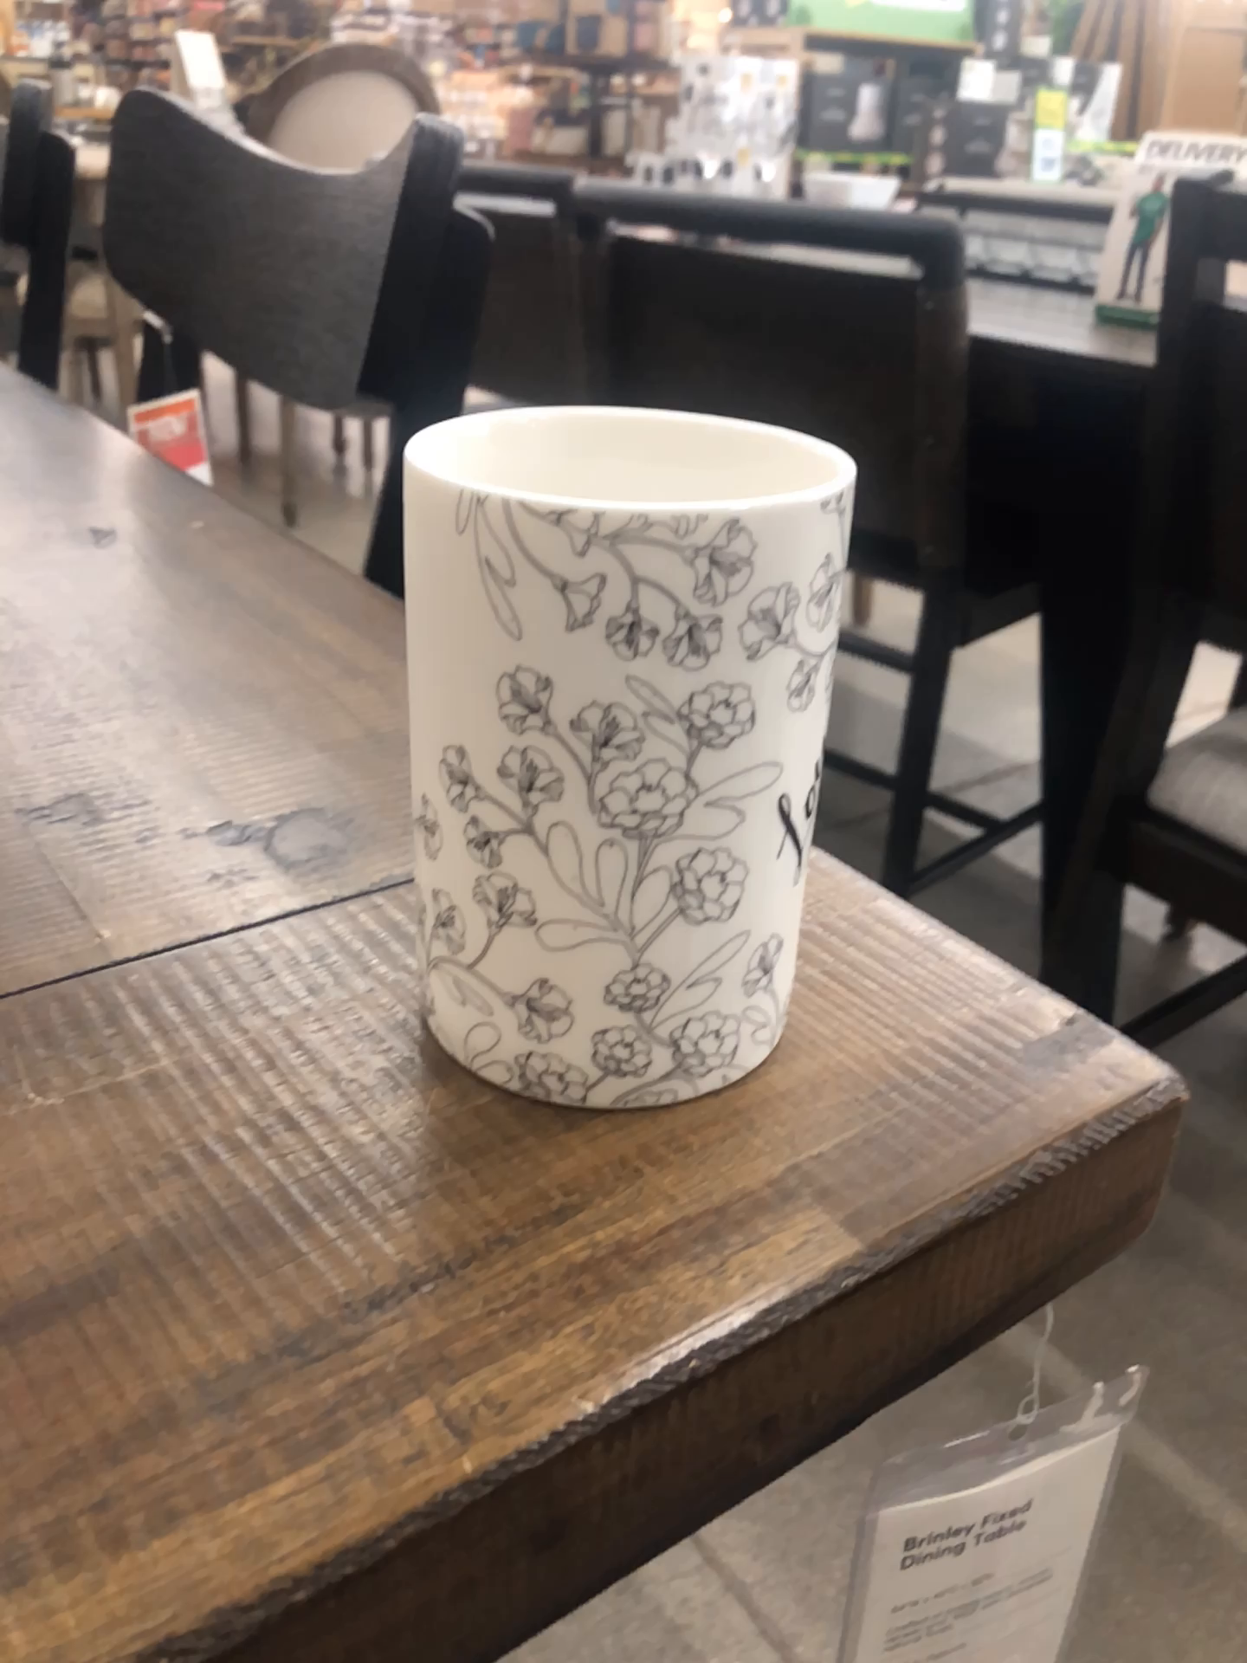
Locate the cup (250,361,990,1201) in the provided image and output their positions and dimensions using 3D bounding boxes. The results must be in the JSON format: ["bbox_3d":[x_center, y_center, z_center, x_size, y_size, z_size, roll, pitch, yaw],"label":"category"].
[{"bbox_3d":[0.007,-0.022,0.278,0.097,0.115,0.120,12,28,19],"label":"cup"}]
